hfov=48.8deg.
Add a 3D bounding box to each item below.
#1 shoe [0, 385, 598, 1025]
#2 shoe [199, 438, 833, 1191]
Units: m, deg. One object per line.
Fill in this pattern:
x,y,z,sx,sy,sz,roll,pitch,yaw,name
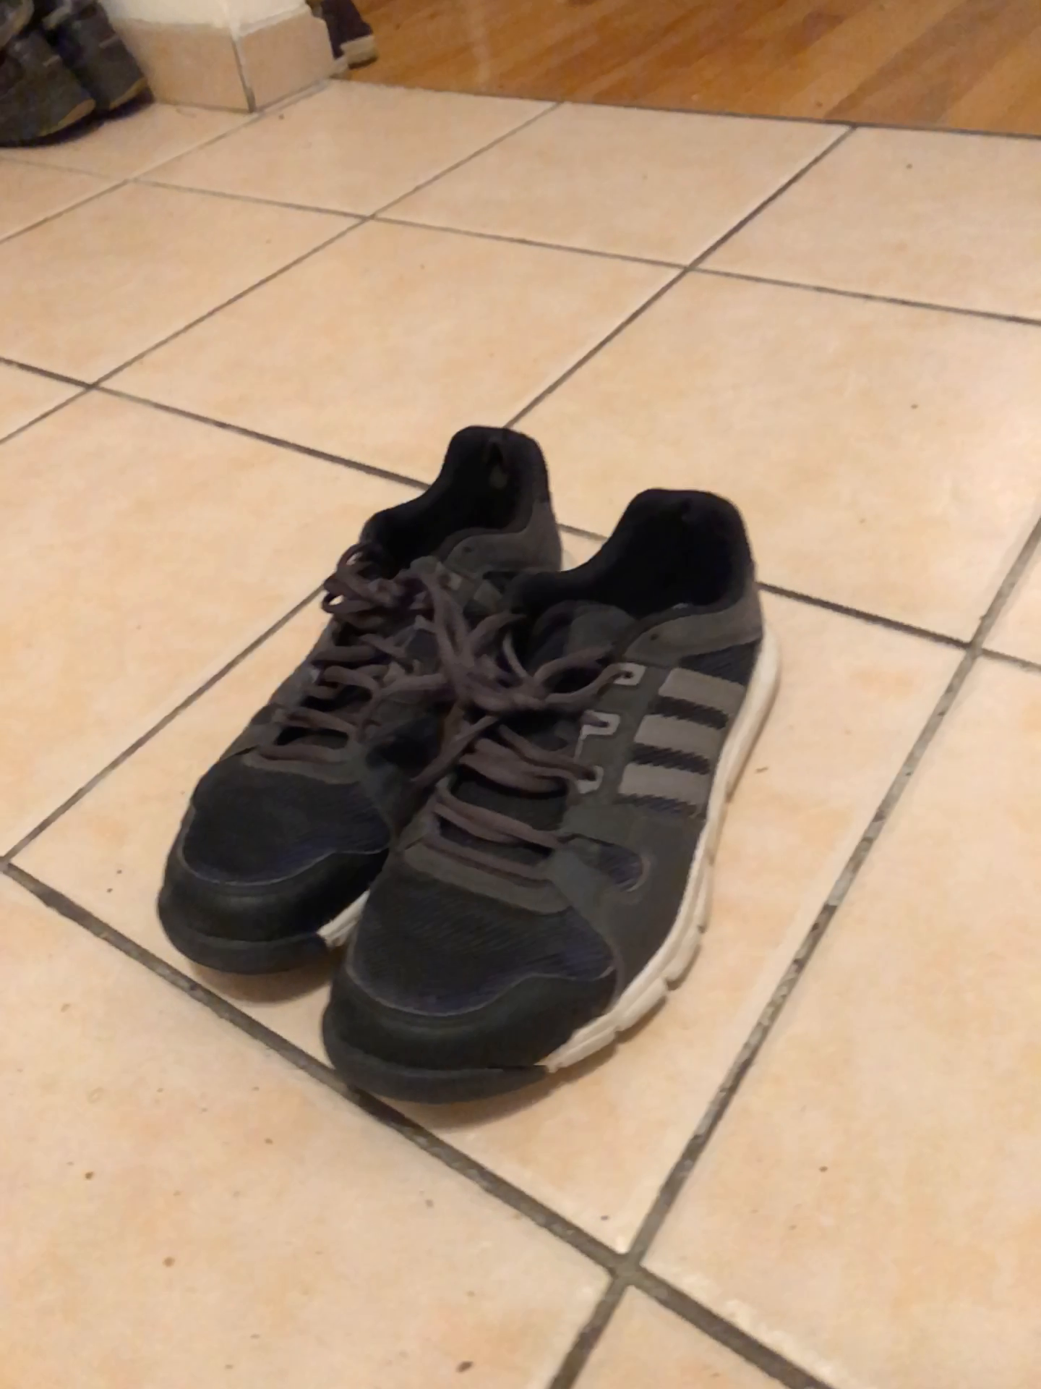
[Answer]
-0.075,-0.016,0.510,0.110,0.099,0.282,18,48,21,shoe
0.022,0.021,0.454,0.120,0.099,0.282,14,47,24,shoe
